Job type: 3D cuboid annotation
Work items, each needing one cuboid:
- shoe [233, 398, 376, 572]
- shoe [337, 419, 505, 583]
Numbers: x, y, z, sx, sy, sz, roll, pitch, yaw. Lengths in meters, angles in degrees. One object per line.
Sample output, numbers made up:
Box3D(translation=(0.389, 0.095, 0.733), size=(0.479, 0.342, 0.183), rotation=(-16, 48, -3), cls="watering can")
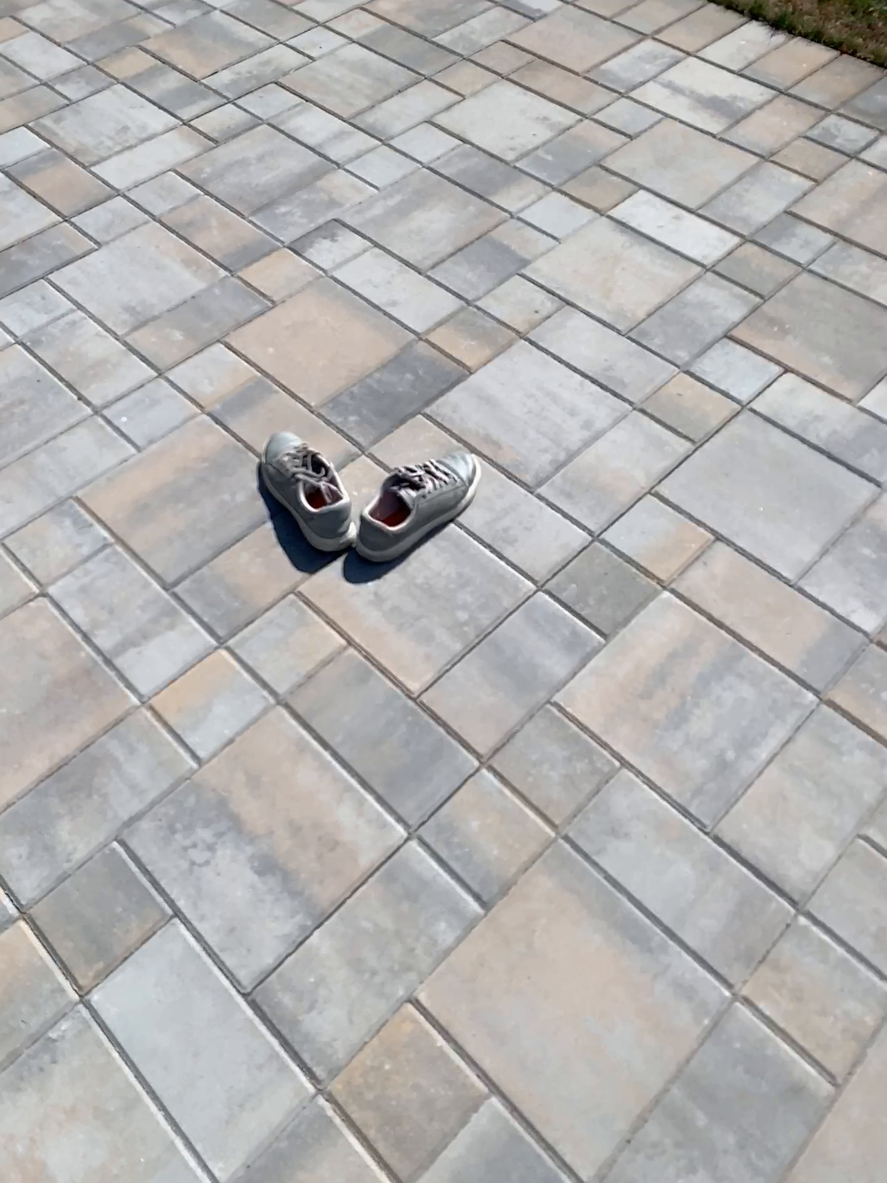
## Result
Box3D(translation=(-0.253, -0.197, 1.622), size=(0.120, 0.110, 0.301), rotation=(-28, 61, -17), cls="shoe")
Box3D(translation=(-0.036, -0.166, 1.601), size=(0.120, 0.090, 0.300), rotation=(37, 64, 22), cls="shoe")
